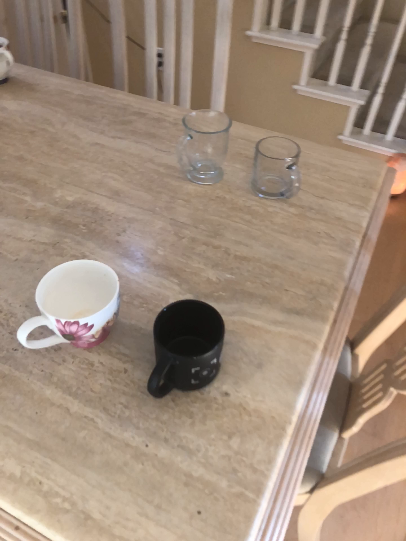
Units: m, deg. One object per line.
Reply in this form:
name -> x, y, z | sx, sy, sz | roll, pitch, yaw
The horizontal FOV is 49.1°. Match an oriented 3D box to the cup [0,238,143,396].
cup -> -0.182, 0.057, 0.602 | 0.100, 0.099, 0.171 | 34, 53, 26

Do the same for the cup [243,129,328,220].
cup -> 0.161, -0.196, 0.899 | 0.090, 0.109, 0.130 | -27, 53, -26

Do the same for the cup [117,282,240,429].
cup -> -0.030, 0.110, 0.590 | 0.090, 0.109, 0.131 | 30, 52, 24

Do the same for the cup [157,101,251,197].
cup -> 0.002, -0.250, 0.903 | 0.110, 0.109, 0.151 | 35, 54, 27
